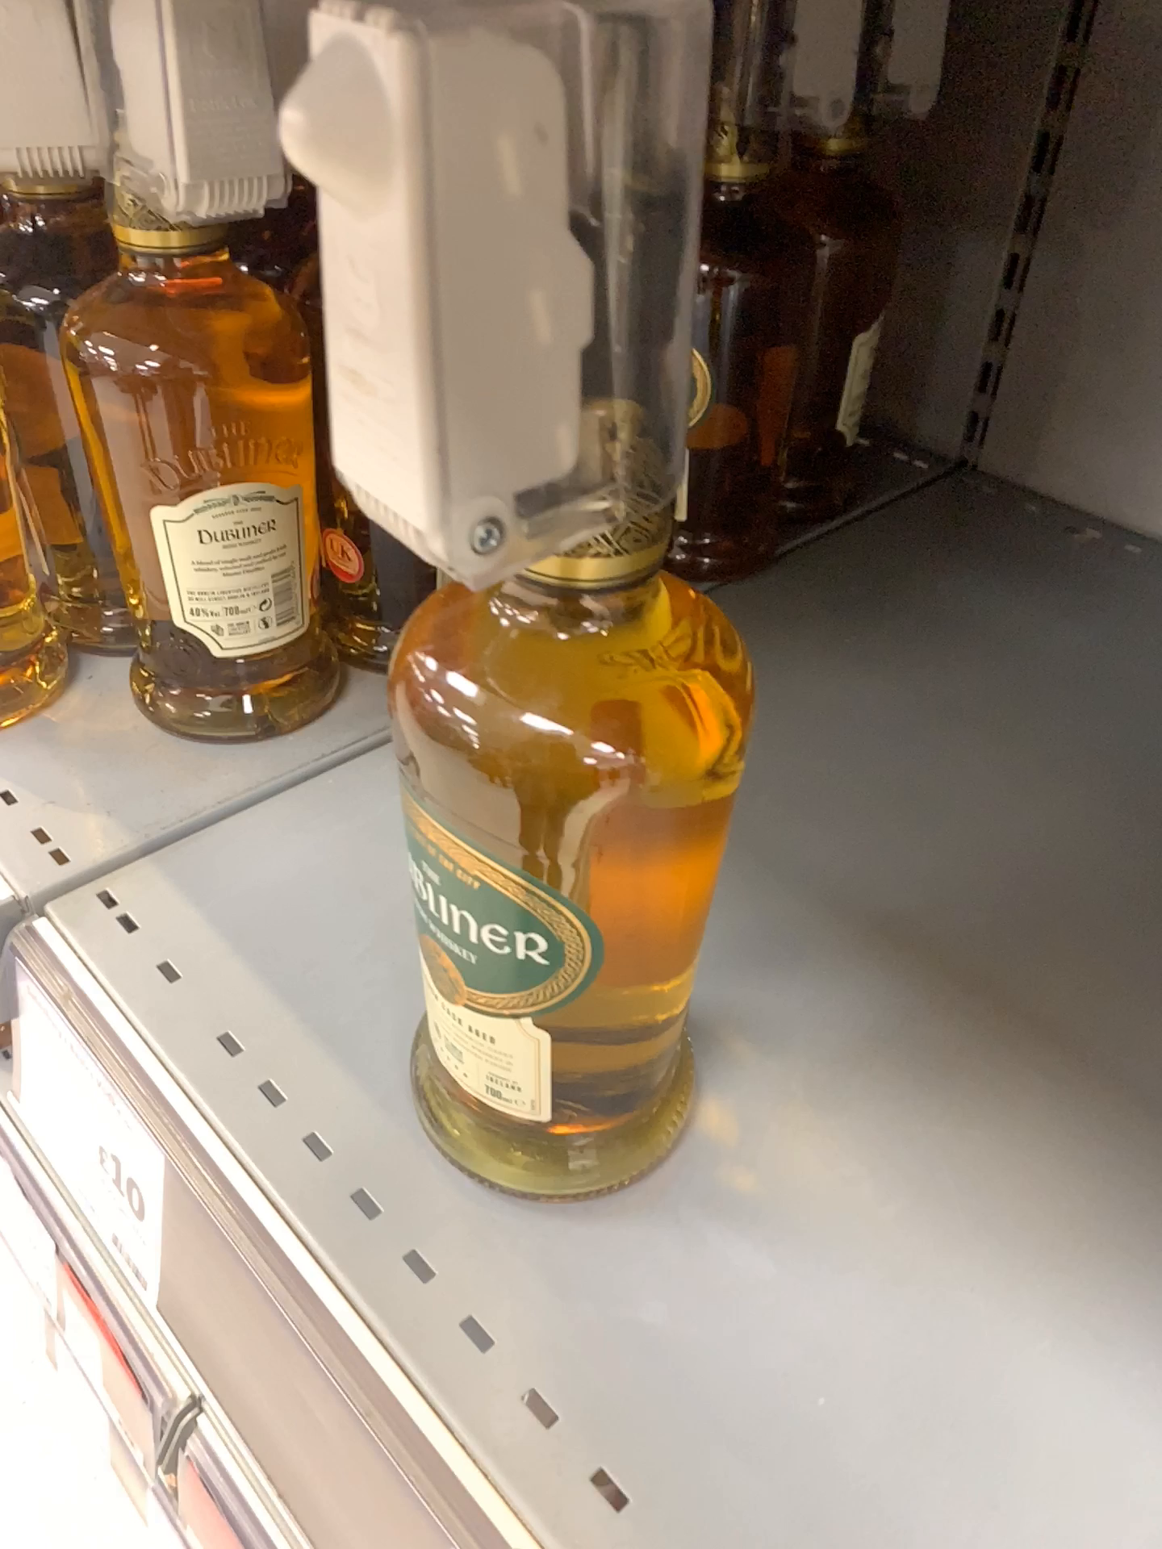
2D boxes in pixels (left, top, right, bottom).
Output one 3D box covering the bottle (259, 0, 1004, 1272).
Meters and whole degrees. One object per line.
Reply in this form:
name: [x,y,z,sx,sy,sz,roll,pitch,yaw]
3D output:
bottle: [-0.001,-0.015,0.286,0.090,0.283,0.089,2,38,-2]
